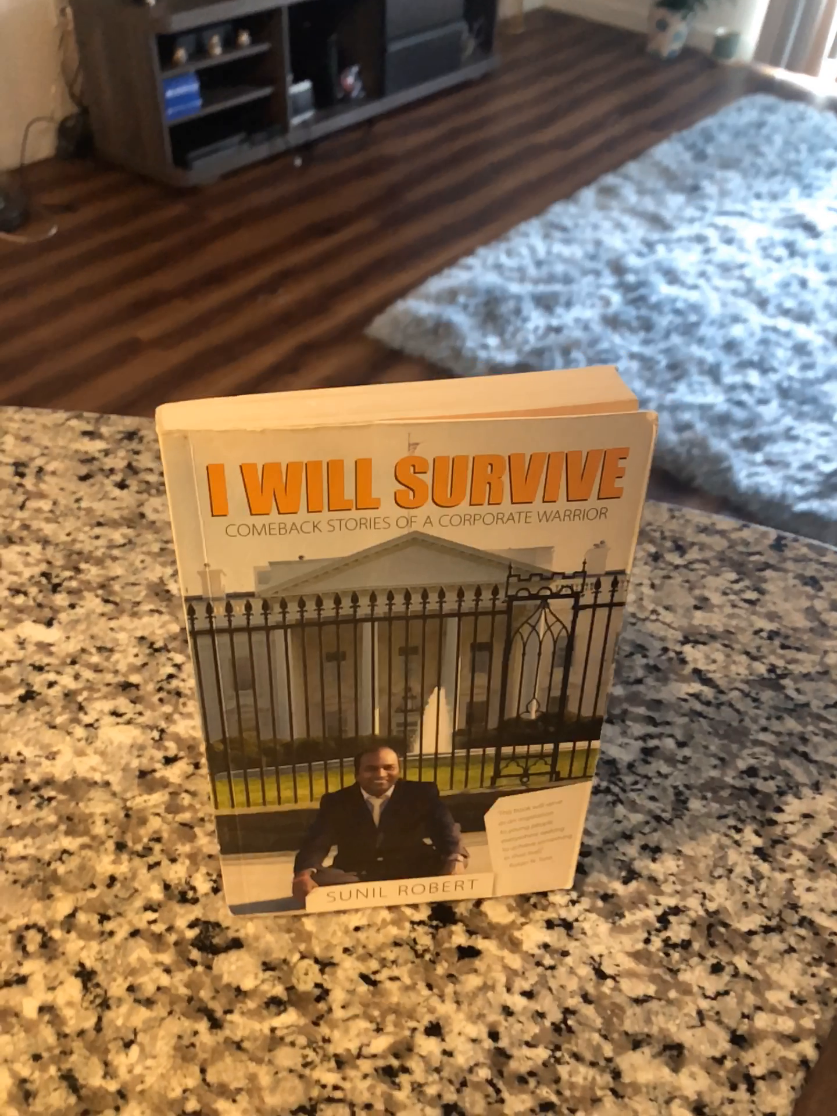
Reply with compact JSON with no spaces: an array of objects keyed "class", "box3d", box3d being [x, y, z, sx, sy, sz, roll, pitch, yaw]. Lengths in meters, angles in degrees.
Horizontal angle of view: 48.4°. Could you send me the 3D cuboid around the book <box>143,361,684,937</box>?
[{"class":"book","box3d":[-0.003,0.037,0.293,0.134,0.191,0.032,-4,34,-9]}]
